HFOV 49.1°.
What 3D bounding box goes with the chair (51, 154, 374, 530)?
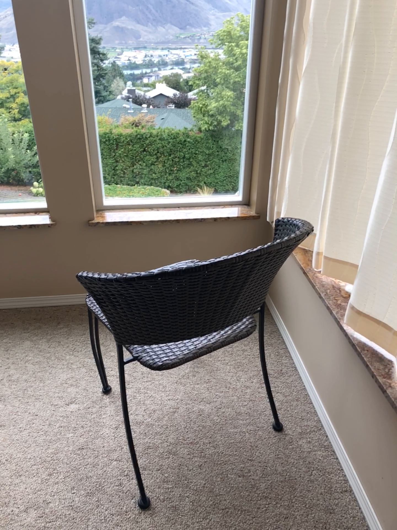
[{"bbox_3d":[-0.011,0.180,1.263,0.560,0.787,0.612,-15,33,-26],"label":"chair"}]
